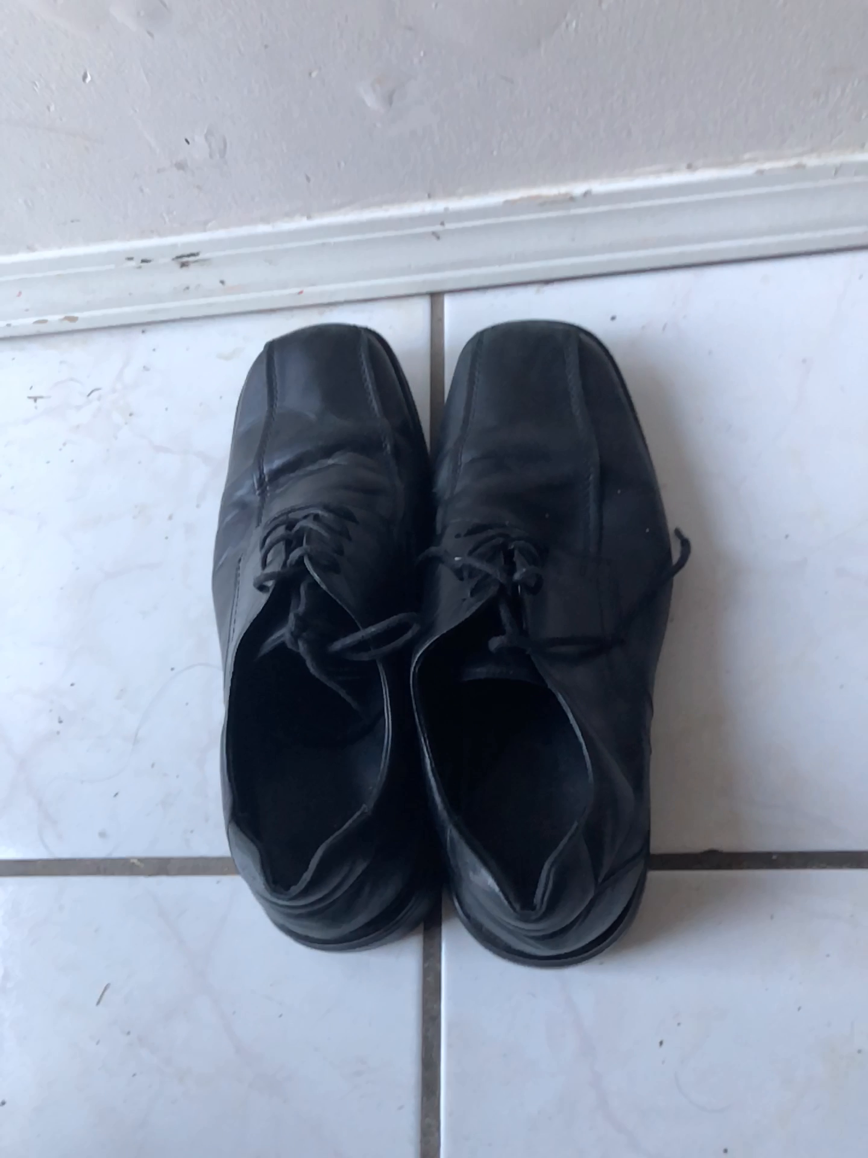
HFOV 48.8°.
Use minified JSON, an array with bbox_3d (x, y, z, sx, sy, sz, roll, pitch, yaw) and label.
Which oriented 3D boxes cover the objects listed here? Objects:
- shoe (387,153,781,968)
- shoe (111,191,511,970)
[{"bbox_3d":[0.047,-0.008,0.373,0.110,0.100,0.291,-5,69,8],"label":"shoe"},{"bbox_3d":[-0.049,-0.001,0.398,0.120,0.100,0.291,-8,68,7],"label":"shoe"}]
